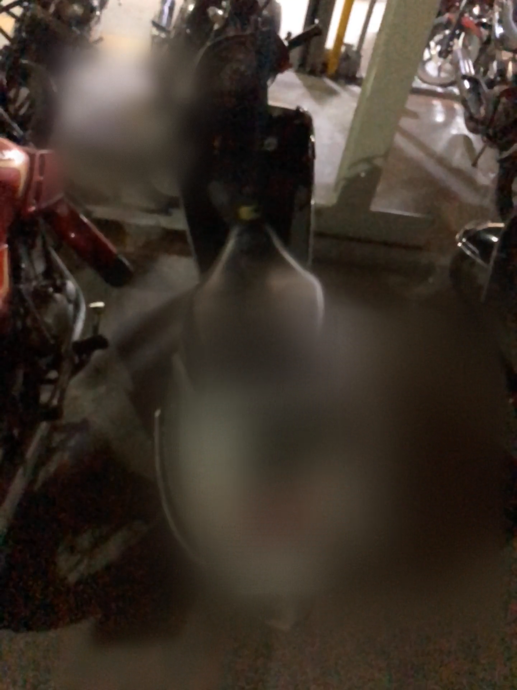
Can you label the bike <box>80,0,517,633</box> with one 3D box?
[{"bbox_3d":[-0.059,-0.137,1.612,0.602,1.095,1.387,4,43,-10],"label":"bike"}]
